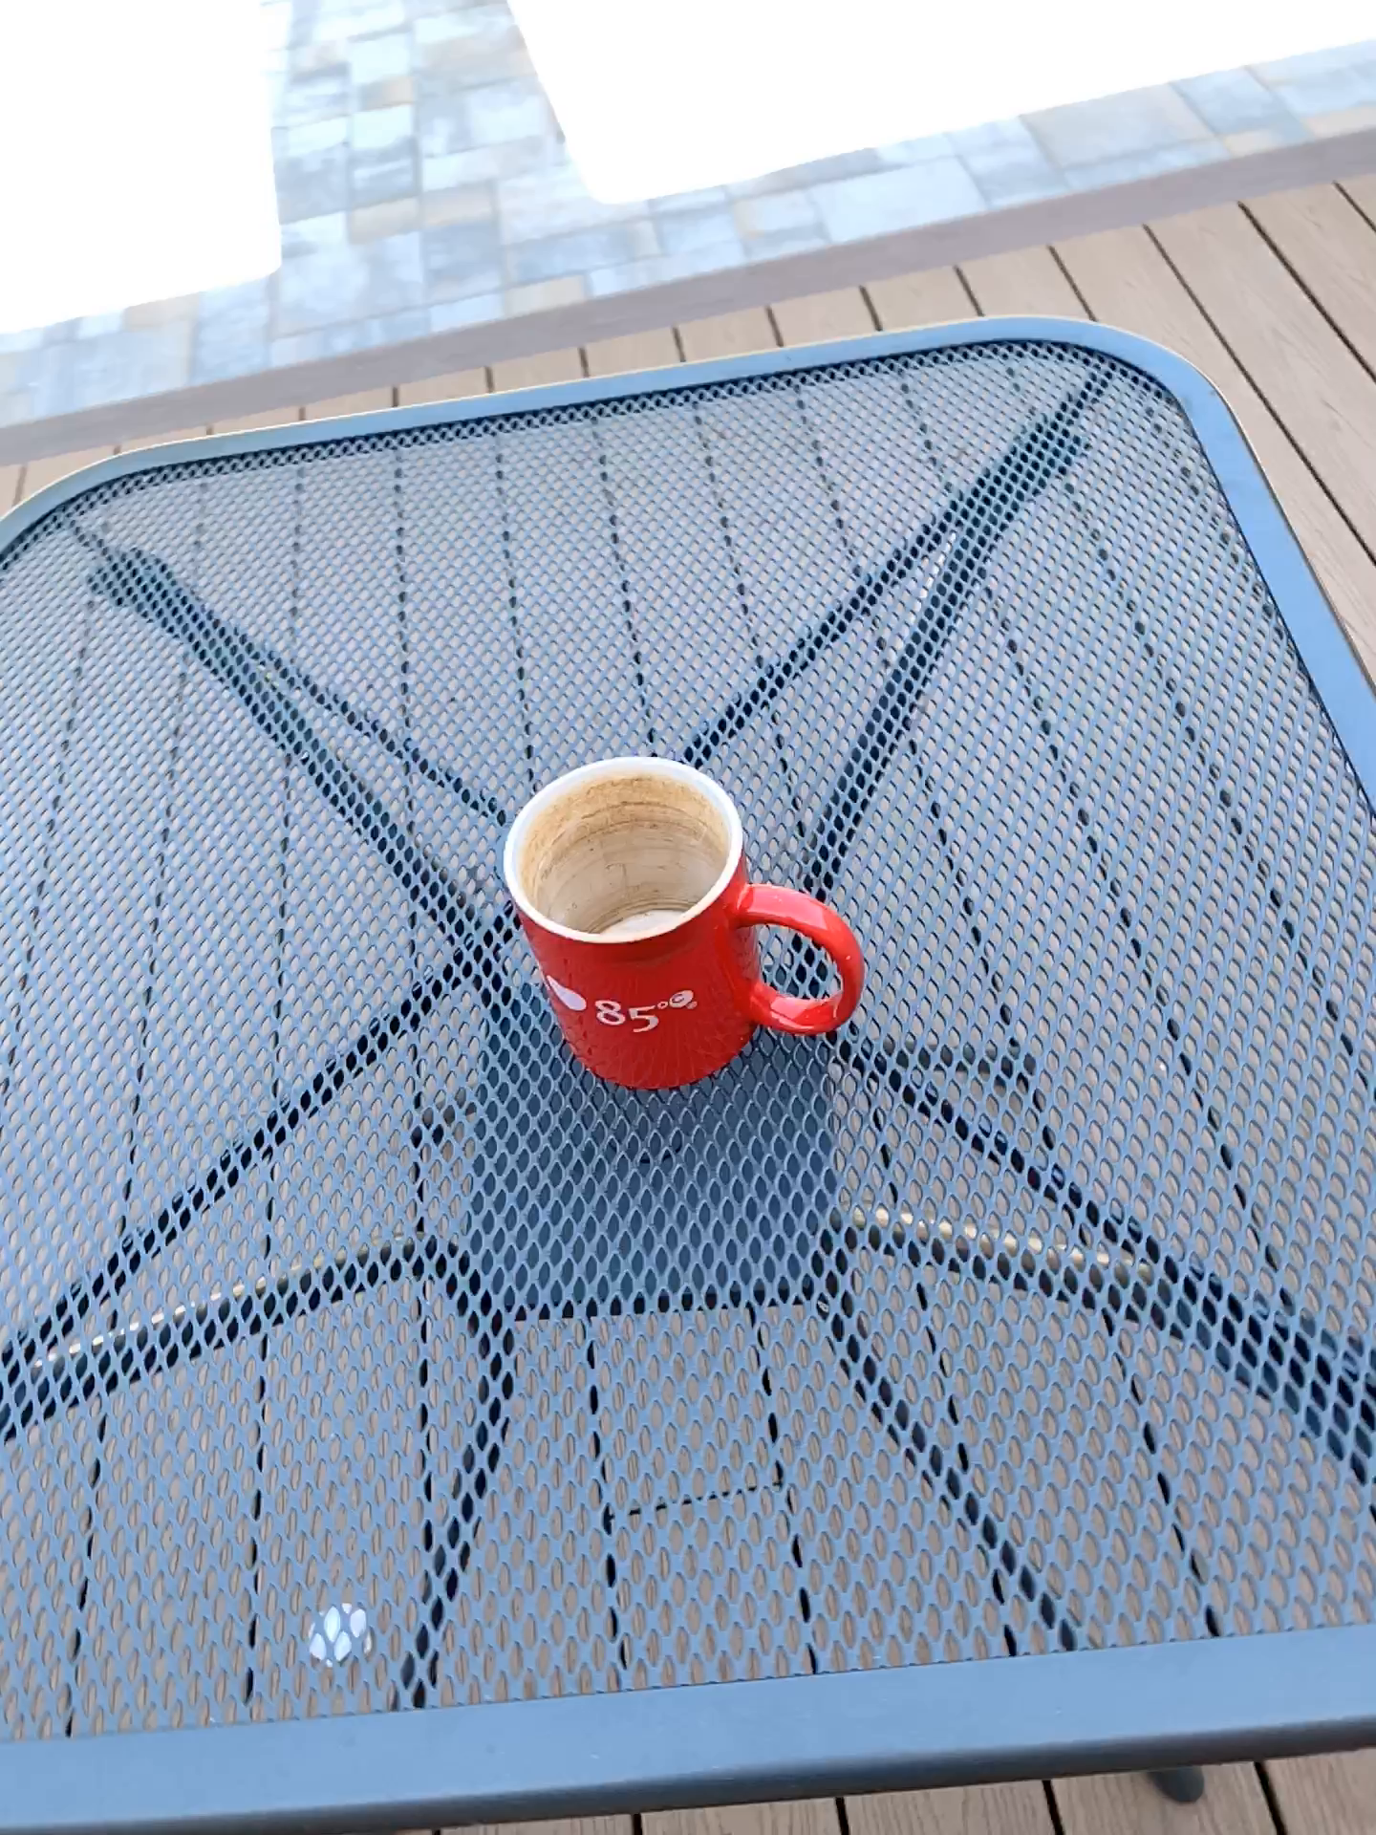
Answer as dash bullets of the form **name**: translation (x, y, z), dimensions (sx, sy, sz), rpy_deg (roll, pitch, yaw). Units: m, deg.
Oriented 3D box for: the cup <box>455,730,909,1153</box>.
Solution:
- **cup**: translation (0.005, 0.008, 0.513), dimensions (0.130, 0.100, 0.090), rpy_deg (11, 57, 17)
